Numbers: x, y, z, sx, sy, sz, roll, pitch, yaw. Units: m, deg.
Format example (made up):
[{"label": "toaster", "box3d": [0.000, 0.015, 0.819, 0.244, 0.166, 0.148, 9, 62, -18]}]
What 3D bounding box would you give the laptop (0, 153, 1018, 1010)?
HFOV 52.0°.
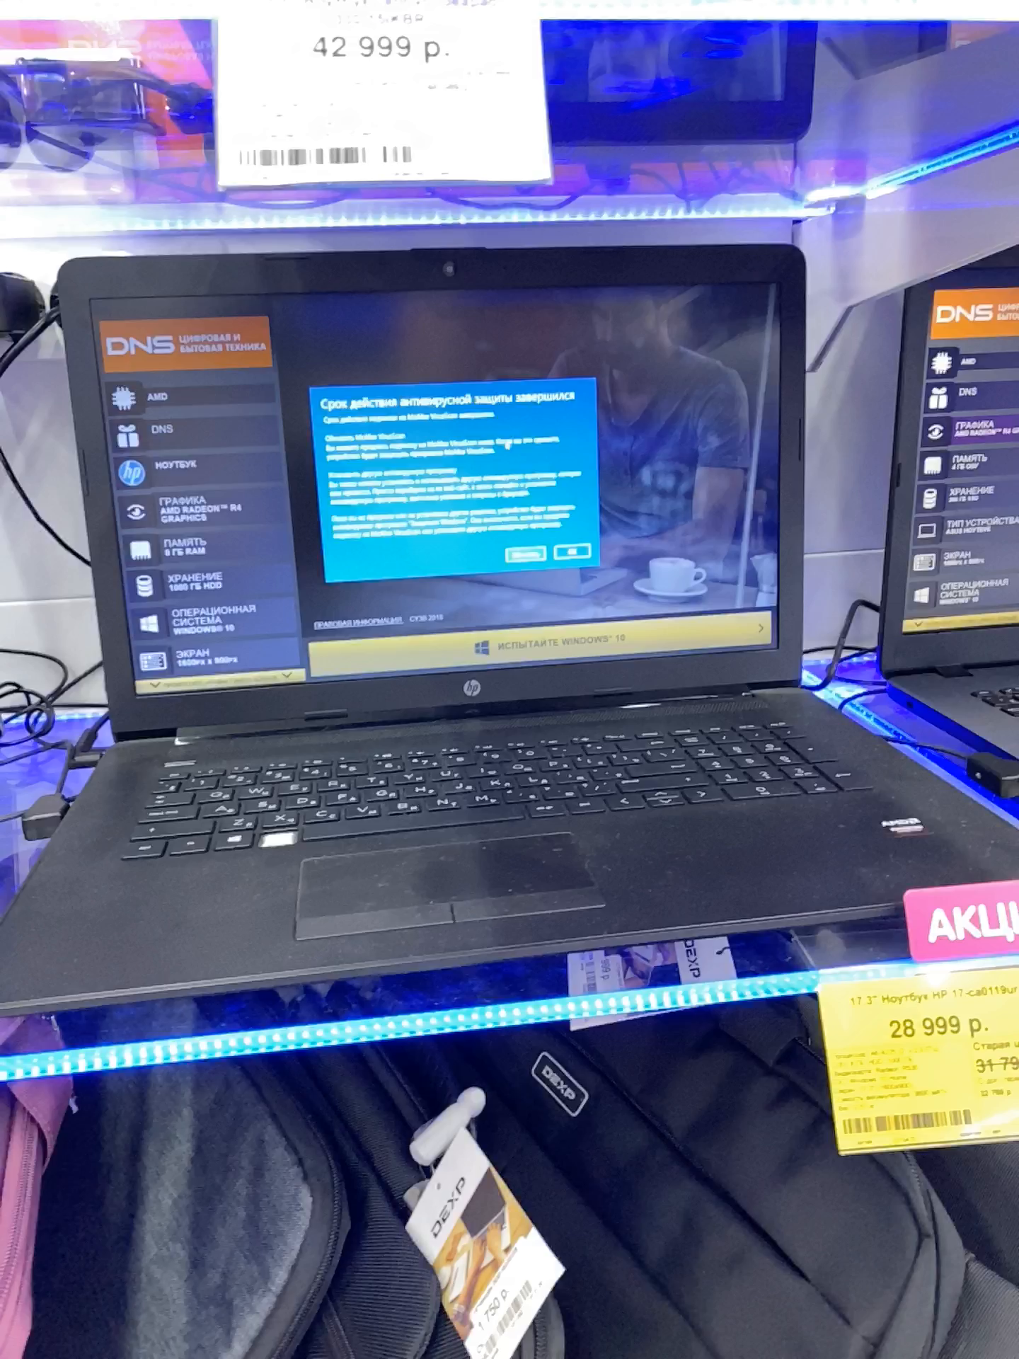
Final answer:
[{"label": "laptop", "box3d": [-0.015, -0.071, 0.486, 0.419, 0.260, 0.295, -4, 16, -9]}]
